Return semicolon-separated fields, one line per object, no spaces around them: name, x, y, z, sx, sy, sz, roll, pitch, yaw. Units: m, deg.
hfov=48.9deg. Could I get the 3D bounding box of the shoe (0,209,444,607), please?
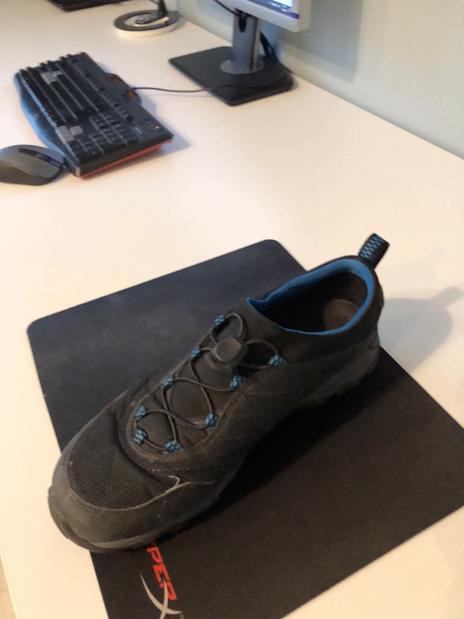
shoe;-0.002;0.052;0.392;0.301;0.109;0.131;-28;48;-22
